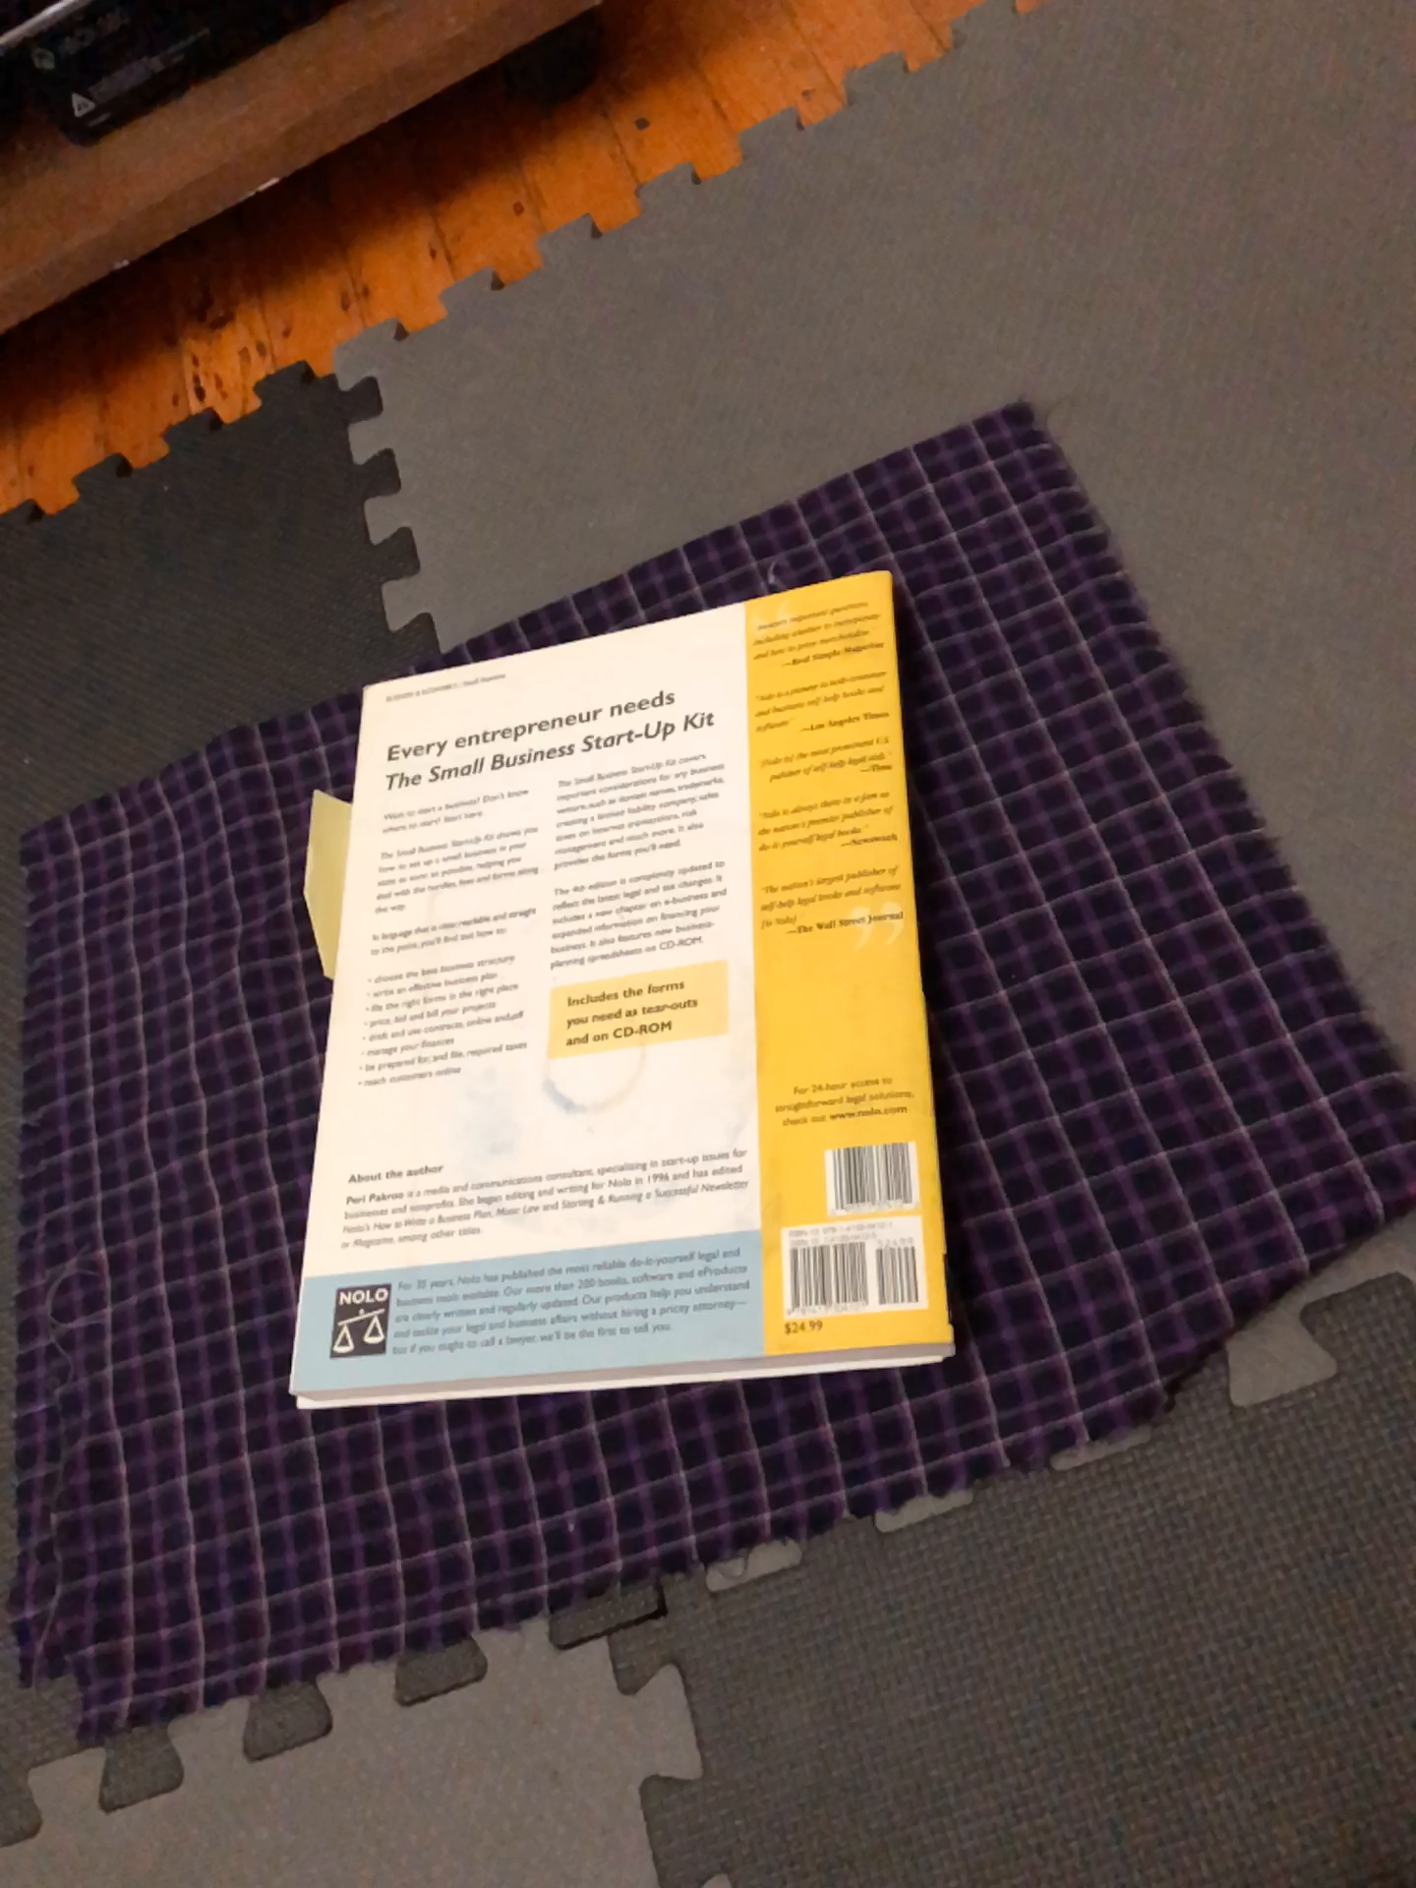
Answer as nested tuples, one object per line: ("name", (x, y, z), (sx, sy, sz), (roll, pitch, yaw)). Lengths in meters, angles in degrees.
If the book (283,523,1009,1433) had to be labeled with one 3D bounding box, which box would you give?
("book", (-0.024, 0.005, 0.555), (0.230, 0.030, 0.311), (-9, 62, 16))
